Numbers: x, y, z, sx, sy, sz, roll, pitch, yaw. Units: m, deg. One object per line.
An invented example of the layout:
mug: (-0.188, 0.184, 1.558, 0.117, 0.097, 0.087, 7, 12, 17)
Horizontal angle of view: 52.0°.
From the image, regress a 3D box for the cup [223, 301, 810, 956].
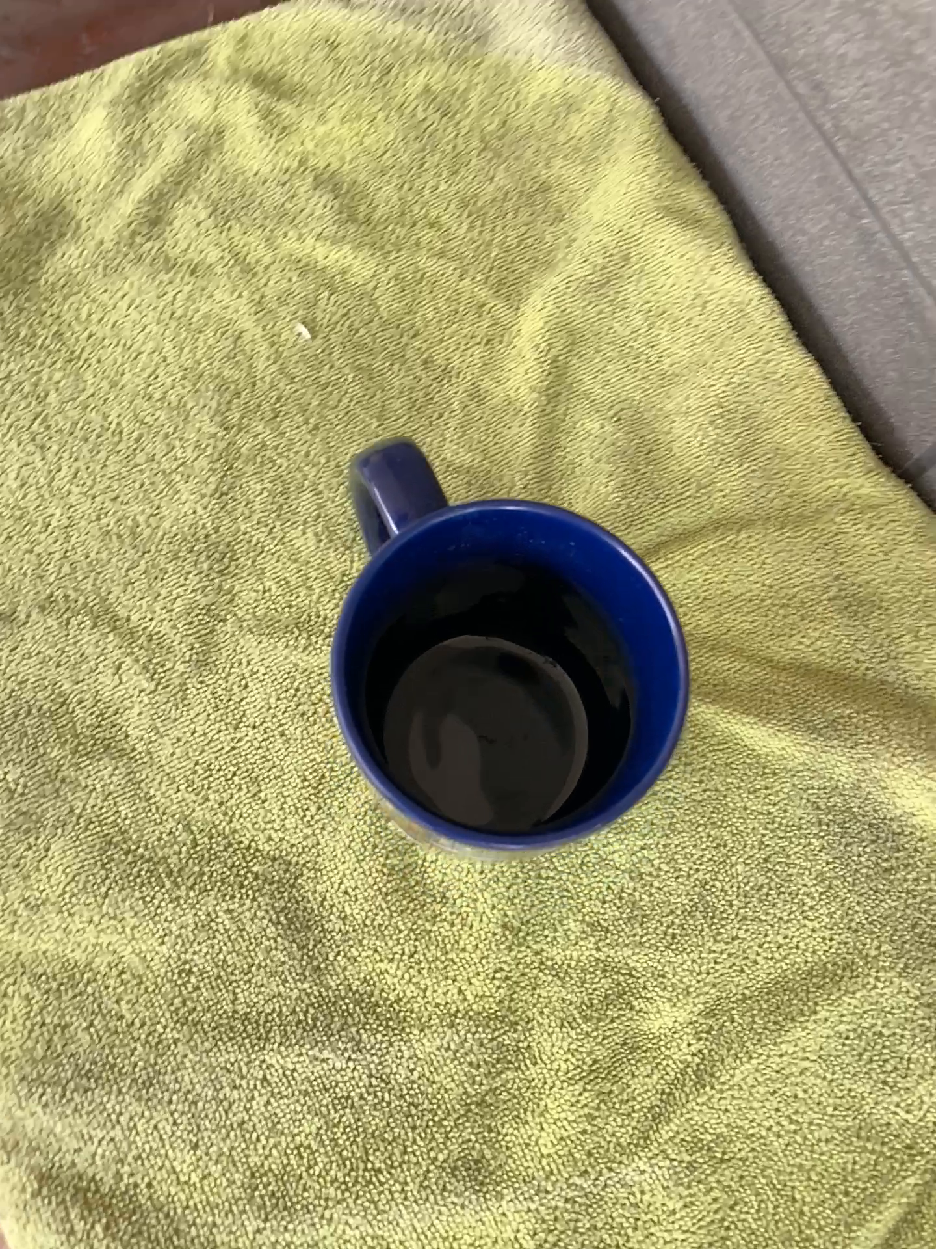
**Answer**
cup: (0.006, 0.008, 0.270, 0.090, 0.110, 0.130, -21, 76, -8)
